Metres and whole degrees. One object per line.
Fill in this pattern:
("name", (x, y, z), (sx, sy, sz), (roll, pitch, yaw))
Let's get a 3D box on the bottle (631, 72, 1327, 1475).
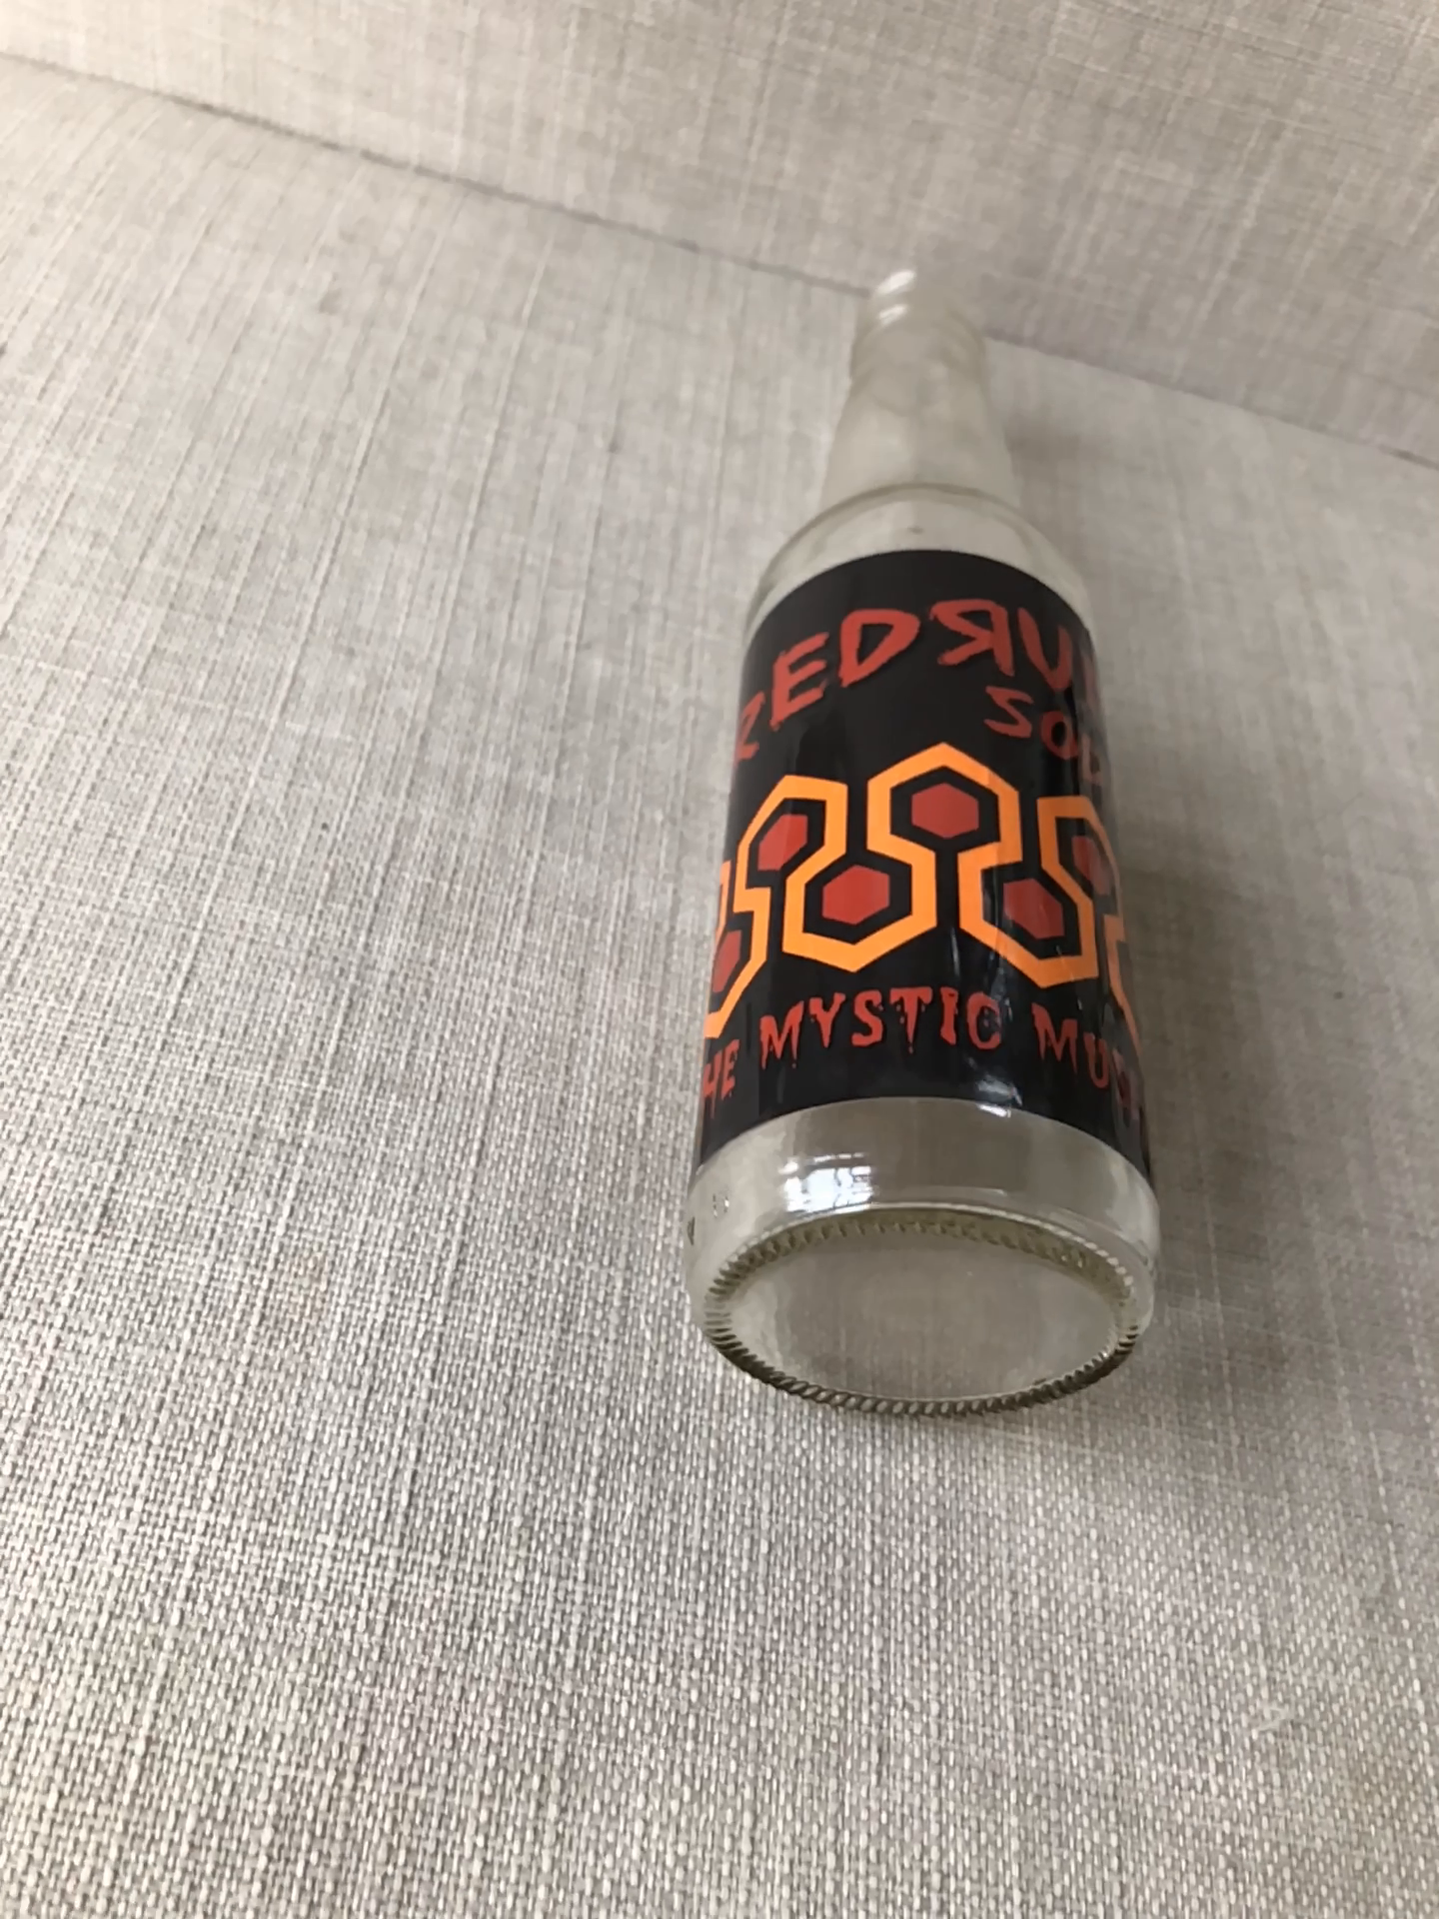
("bottle", (0.035, -0.047, 0.261), (0.063, 0.069, 0.232), (11, 53, -7))
